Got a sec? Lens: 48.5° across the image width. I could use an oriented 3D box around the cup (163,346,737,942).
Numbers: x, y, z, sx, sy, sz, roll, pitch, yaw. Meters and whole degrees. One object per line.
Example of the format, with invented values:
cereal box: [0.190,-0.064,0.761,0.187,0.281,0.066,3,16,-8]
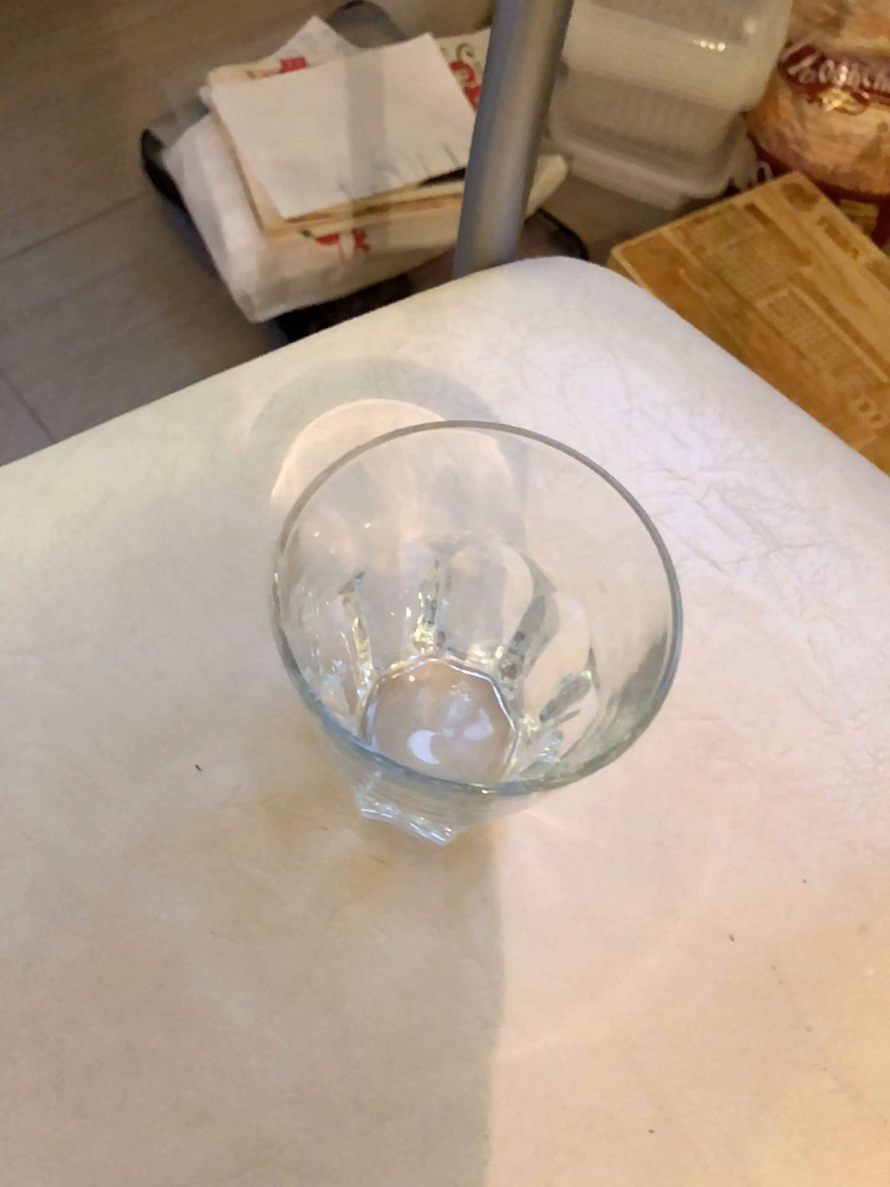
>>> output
cup: [-0.002,0.018,0.238,0.080,0.100,0.080,2,63,-4]
